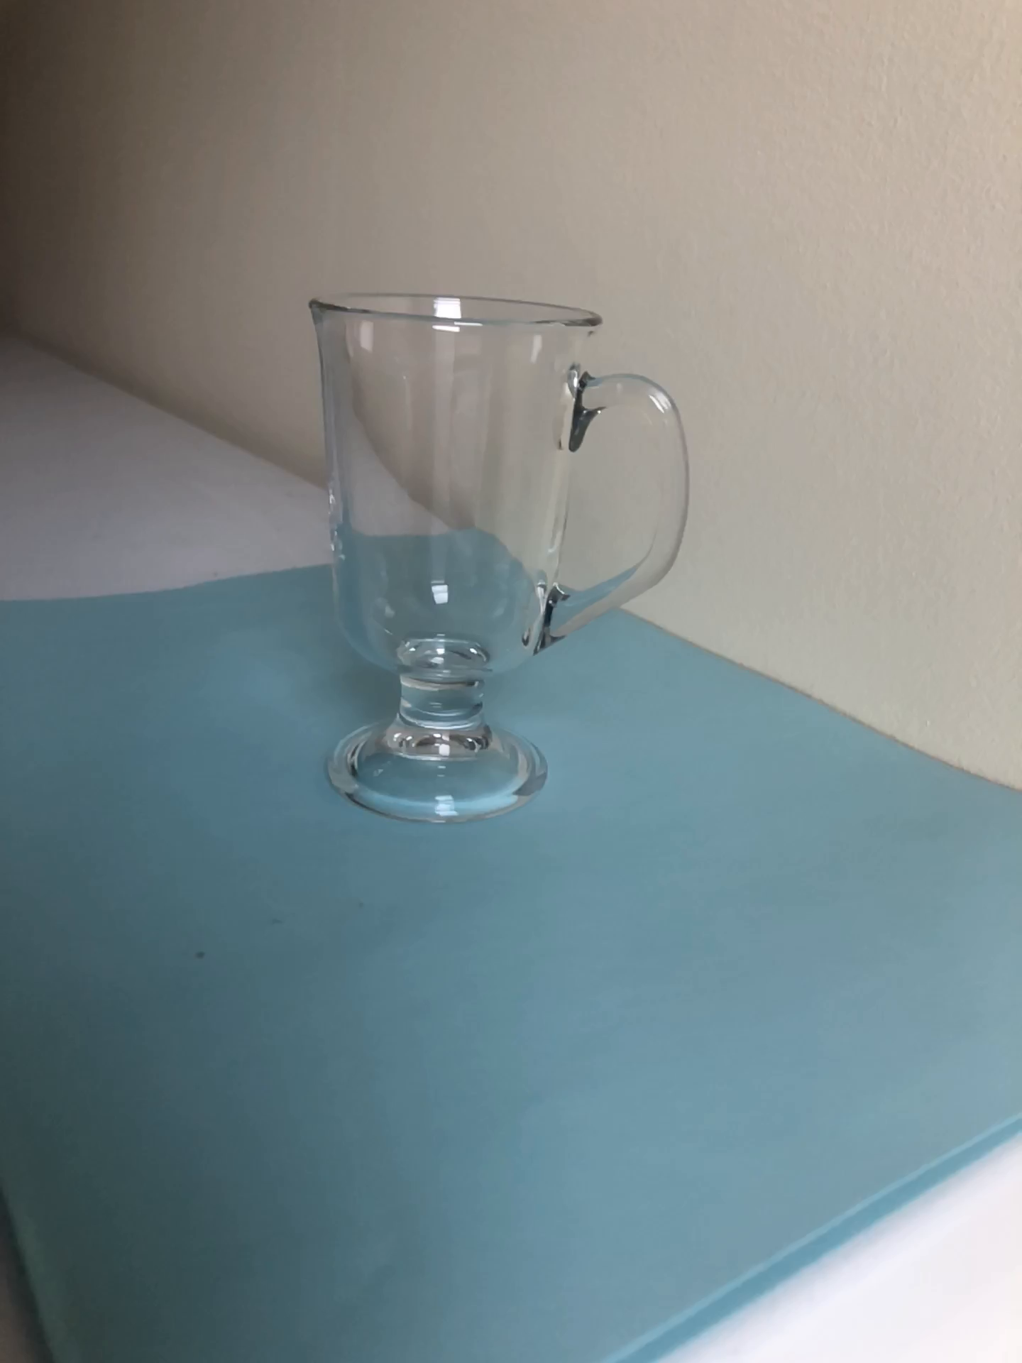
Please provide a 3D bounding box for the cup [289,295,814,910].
[{"bbox_3d":[0.010,-0.025,0.272,0.100,0.119,0.070,9,23,17],"label":"cup"}]
